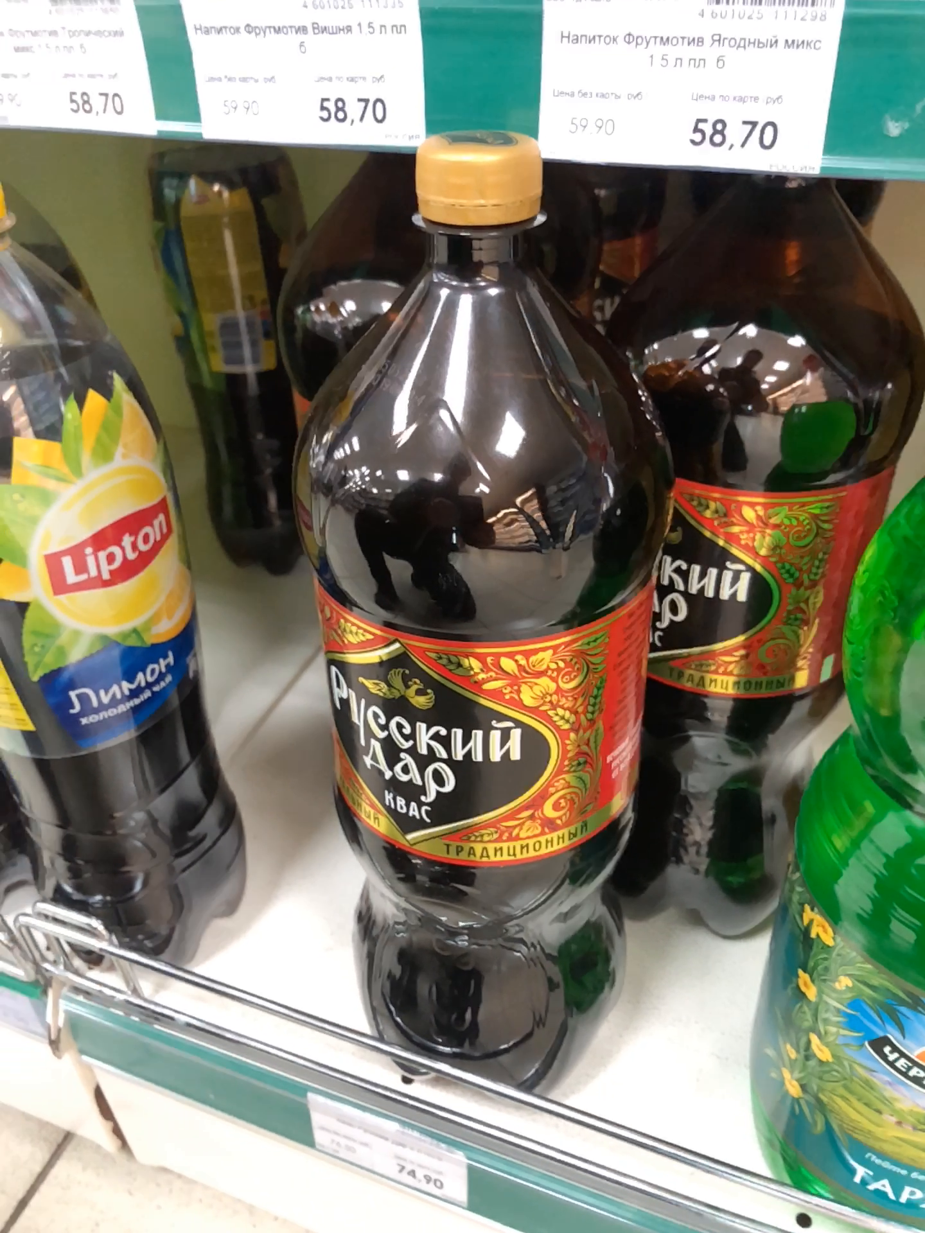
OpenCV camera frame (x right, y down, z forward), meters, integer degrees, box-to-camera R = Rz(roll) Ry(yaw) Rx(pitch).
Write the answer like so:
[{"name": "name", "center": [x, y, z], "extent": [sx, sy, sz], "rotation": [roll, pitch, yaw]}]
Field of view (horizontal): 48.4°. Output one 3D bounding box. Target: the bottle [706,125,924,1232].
[{"name": "bottle", "center": [0.141, 0.056, 0.277], "extent": [0.099, 0.327, 0.085], "rotation": [14, 39, 22]}]

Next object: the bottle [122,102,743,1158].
[{"name": "bottle", "center": [0.004, 0.023, 0.331], "extent": [0.110, 0.322, 0.100], "rotation": [-2, 36, 1]}]
